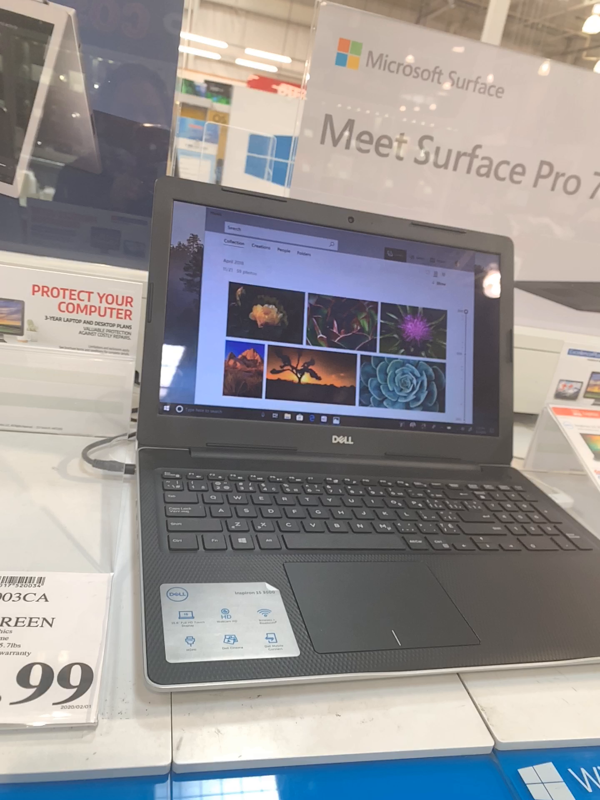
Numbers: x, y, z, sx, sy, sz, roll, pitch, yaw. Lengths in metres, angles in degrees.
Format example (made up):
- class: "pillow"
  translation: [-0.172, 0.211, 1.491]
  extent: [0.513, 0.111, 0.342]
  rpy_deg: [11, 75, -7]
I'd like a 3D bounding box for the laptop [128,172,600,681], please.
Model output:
- class: "laptop"
  translation: [0.071, -0.016, 0.459]
  extent: [0.357, 0.205, 0.343]
  rpy_deg: [5, 20, -19]
